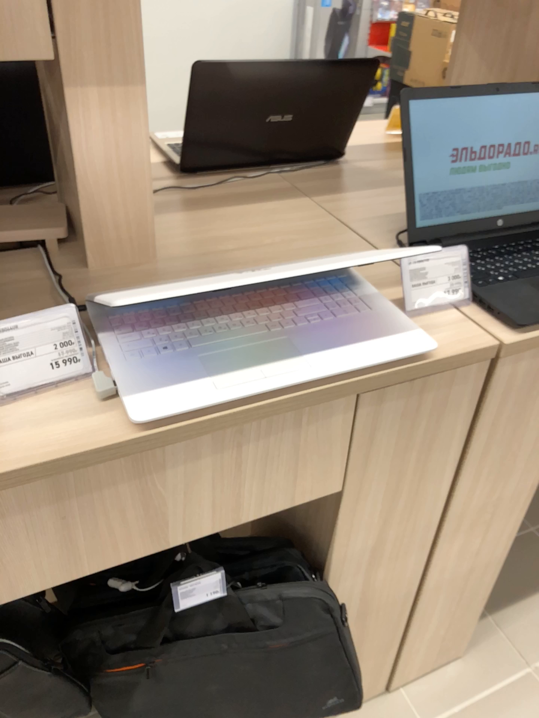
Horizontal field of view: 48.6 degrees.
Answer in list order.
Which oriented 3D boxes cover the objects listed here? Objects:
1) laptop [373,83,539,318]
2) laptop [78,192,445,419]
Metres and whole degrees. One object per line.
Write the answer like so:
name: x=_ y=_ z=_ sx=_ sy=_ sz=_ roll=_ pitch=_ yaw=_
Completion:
laptop: x=0.432 y=-0.272 z=0.922 sx=0.392 sy=0.219 sz=0.350 roll=-12 pitch=37 yaw=-23
laptop: x=-0.017 y=-0.088 z=0.721 sx=0.368 sy=0.103 sz=0.233 roll=-13 pitch=40 yaw=-21
